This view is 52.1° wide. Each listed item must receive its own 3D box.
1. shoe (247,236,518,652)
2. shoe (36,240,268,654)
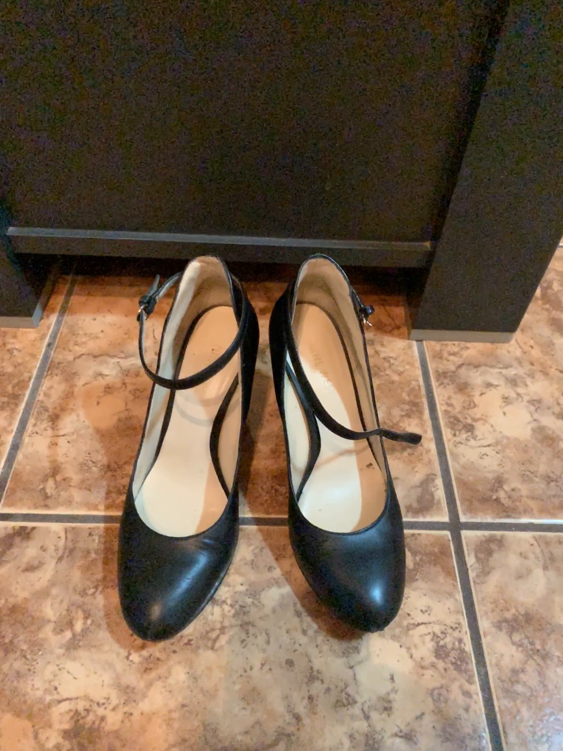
[{"bbox_3d":[0.038,0.037,0.365,0.087,0.140,0.210,-7,51,-9],"label":"shoe"},{"bbox_3d":[-0.059,0.044,0.366,0.079,0.159,0.201,5,50,1],"label":"shoe"}]
